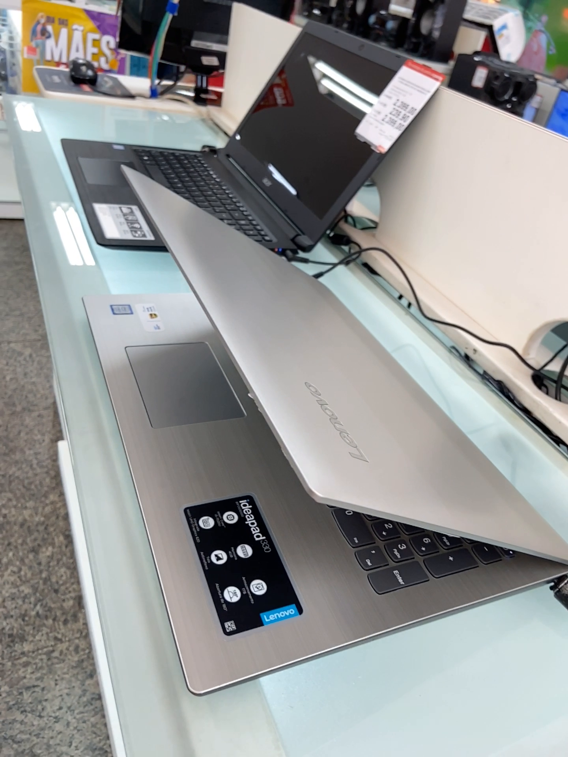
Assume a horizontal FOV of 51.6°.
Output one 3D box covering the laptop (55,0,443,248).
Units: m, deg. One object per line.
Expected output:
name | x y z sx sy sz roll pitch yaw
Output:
laptop | -0.071 -0.366 0.792 0.401 0.211 0.356 -8 41 -27

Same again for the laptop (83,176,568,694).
laptop | 0.010 -0.023 0.417 0.246 0.114 0.370 -6 37 -24
